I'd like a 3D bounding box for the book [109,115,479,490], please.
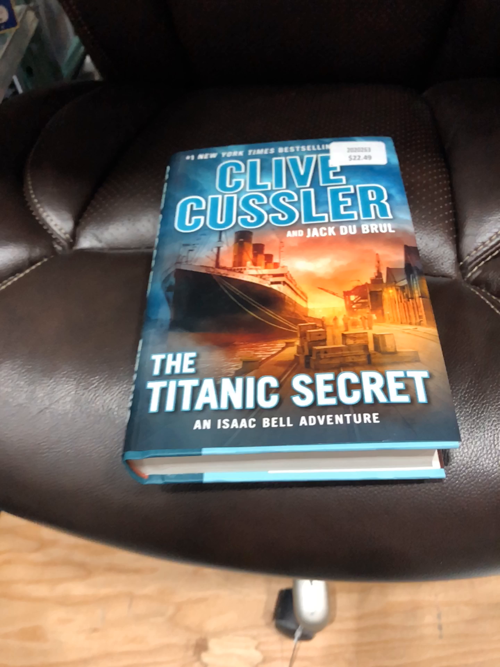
[{"bbox_3d":[0.022,-0.035,0.340,0.165,0.040,0.250,-3,54,6],"label":"book"}]
